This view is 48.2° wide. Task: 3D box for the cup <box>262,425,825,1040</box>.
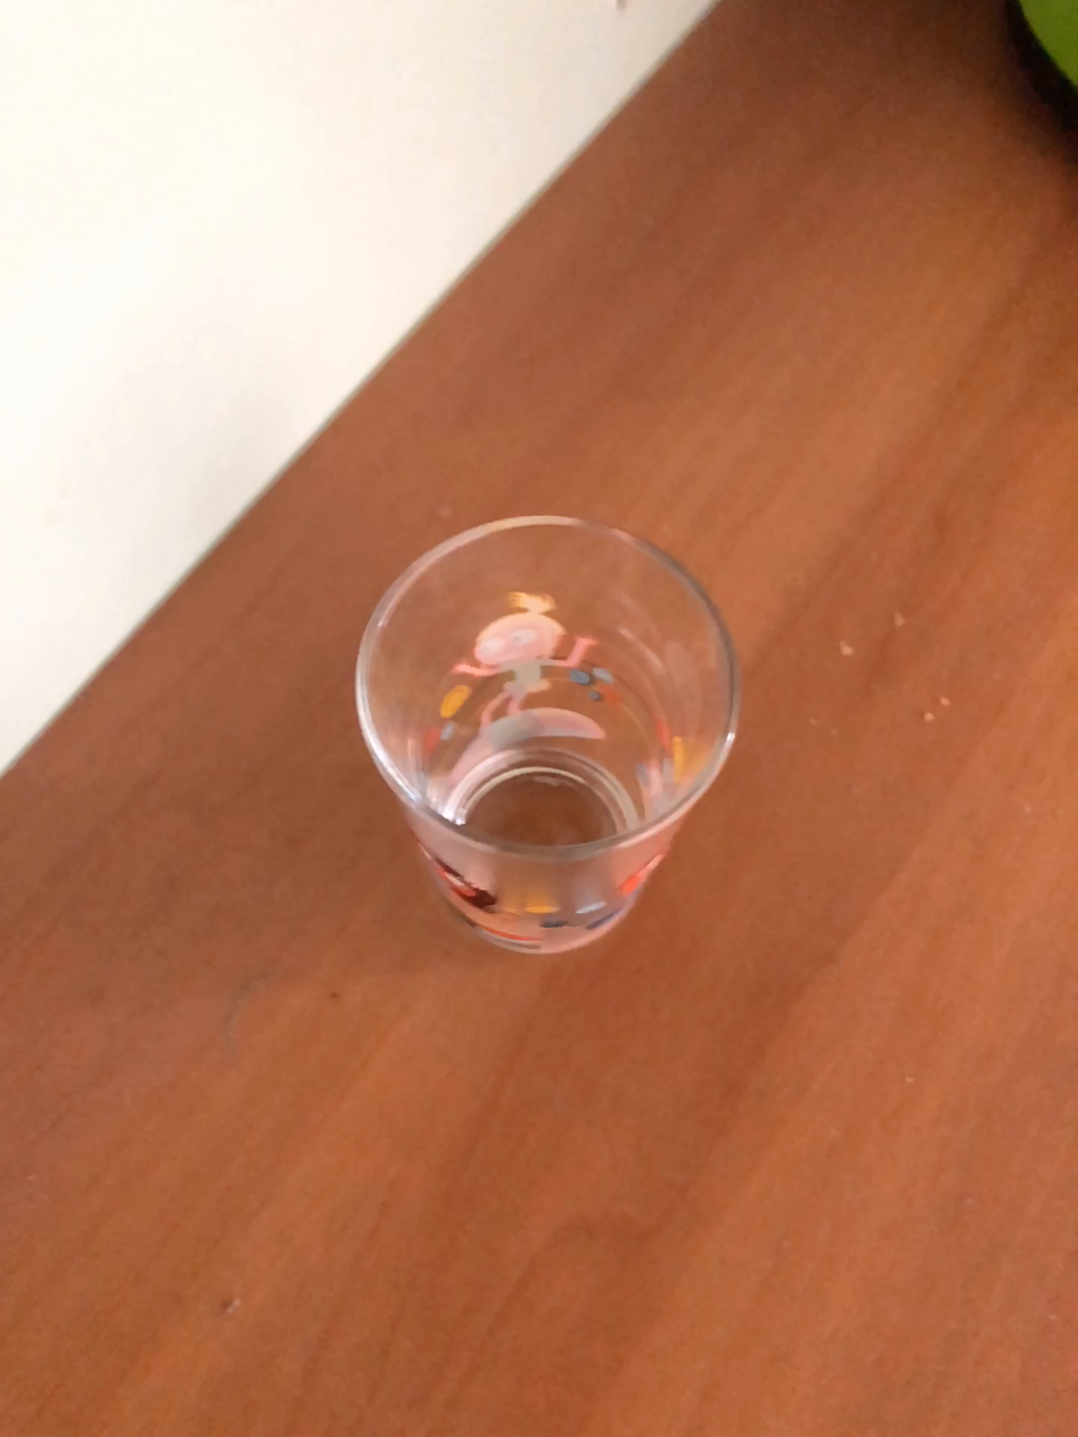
[{"bbox_3d":[0.001,0.010,0.247,0.070,0.100,0.070,0,66,-1],"label":"cup"}]
